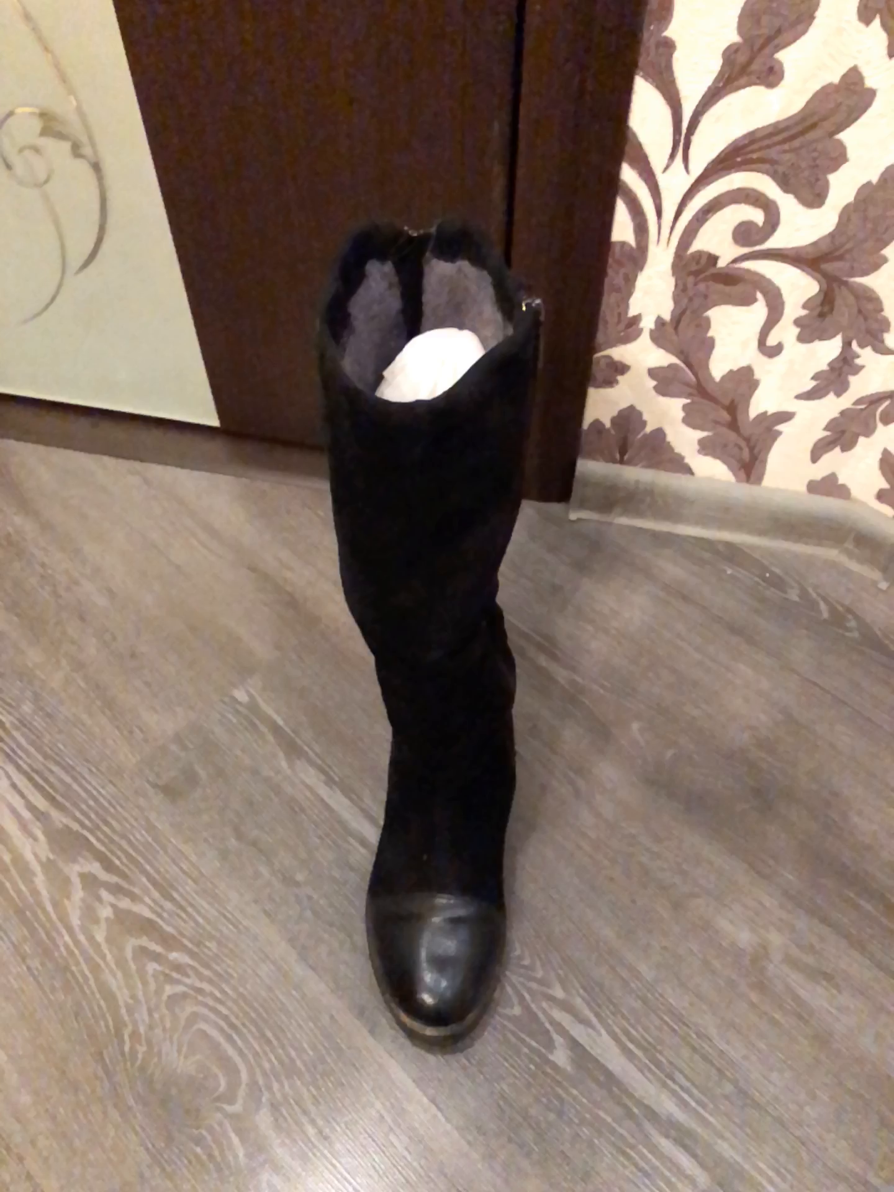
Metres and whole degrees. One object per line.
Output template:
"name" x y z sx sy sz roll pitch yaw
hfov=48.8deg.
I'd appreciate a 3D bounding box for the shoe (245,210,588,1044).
"shoe" -0.004 0.052 0.525 0.100 0.408 0.251 1 52 1
